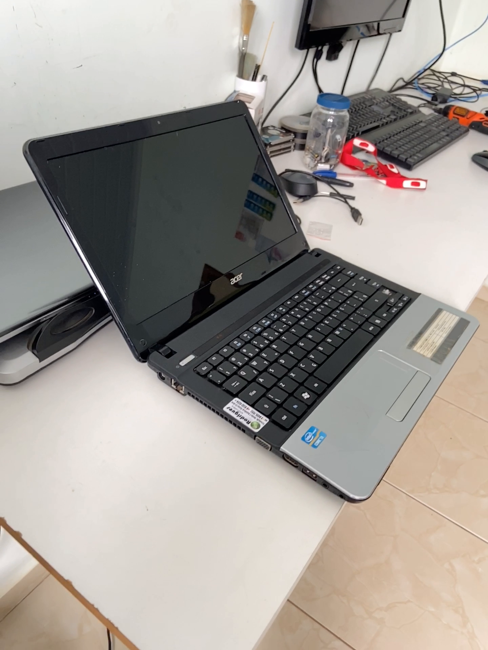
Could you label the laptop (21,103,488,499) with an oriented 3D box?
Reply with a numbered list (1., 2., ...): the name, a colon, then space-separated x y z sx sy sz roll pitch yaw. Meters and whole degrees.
1. laptop: 0.040 -0.085 0.541 0.396 0.162 0.334 29 41 25
